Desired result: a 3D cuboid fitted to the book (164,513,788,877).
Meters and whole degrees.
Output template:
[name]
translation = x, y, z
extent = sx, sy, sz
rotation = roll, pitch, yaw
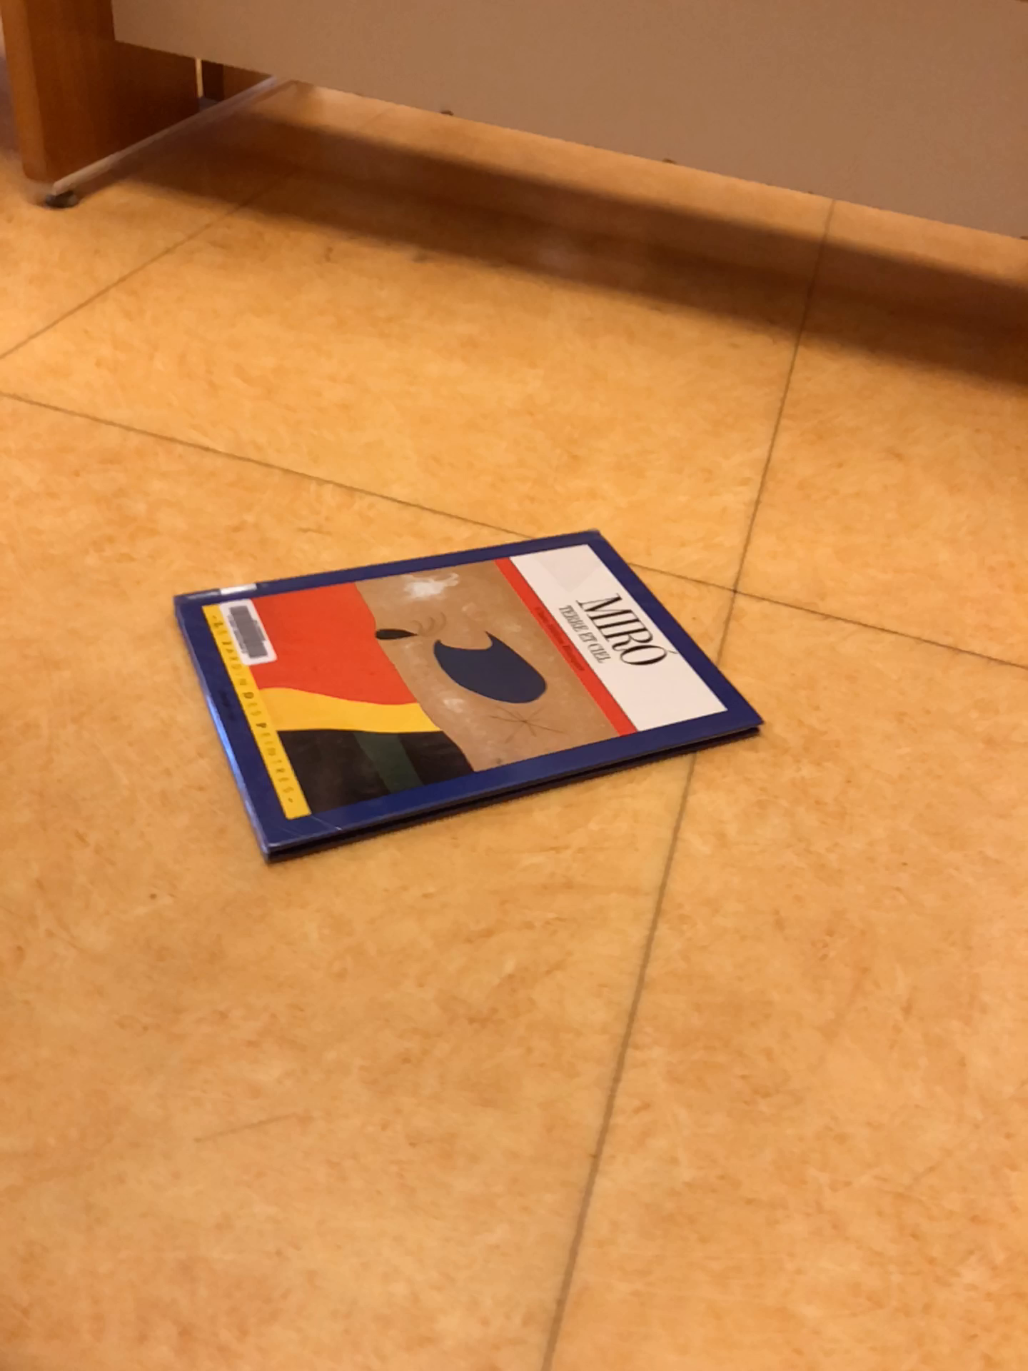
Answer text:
[book]
translation = -0.022, -0.012, 0.539
extent = 0.246, 0.020, 0.178
rotation = -11, 44, -24
